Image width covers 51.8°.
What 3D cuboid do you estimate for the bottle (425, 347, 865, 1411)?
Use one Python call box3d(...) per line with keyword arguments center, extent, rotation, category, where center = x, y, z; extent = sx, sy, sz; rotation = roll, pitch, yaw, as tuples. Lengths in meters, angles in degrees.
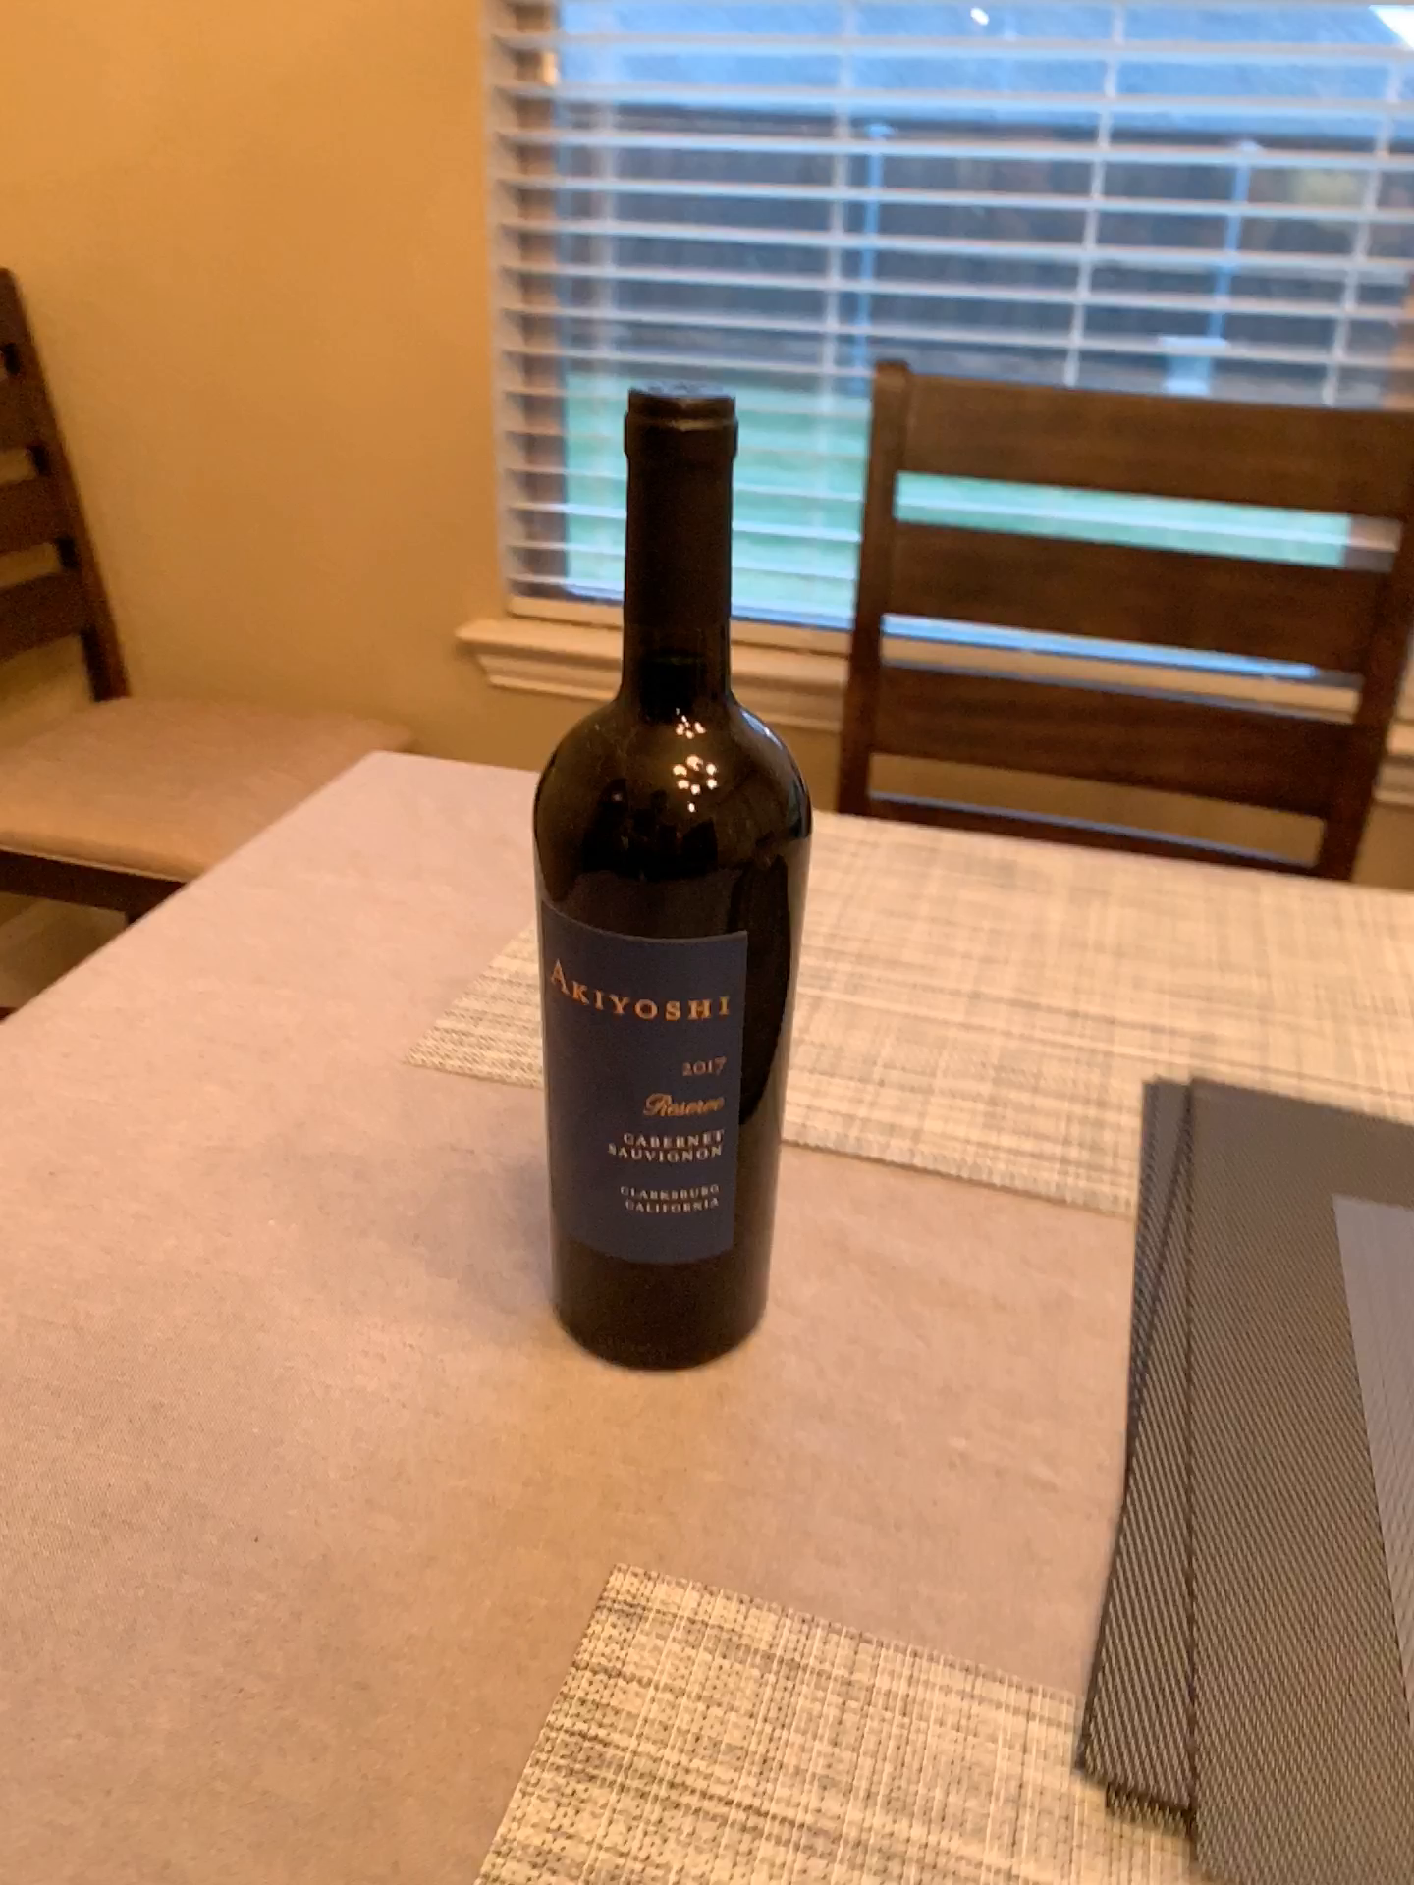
box3d(center=(-0.016, -0.011, 0.438), extent=(0.090, 0.298, 0.090), rotation=(2, 28, -1), category="bottle")
